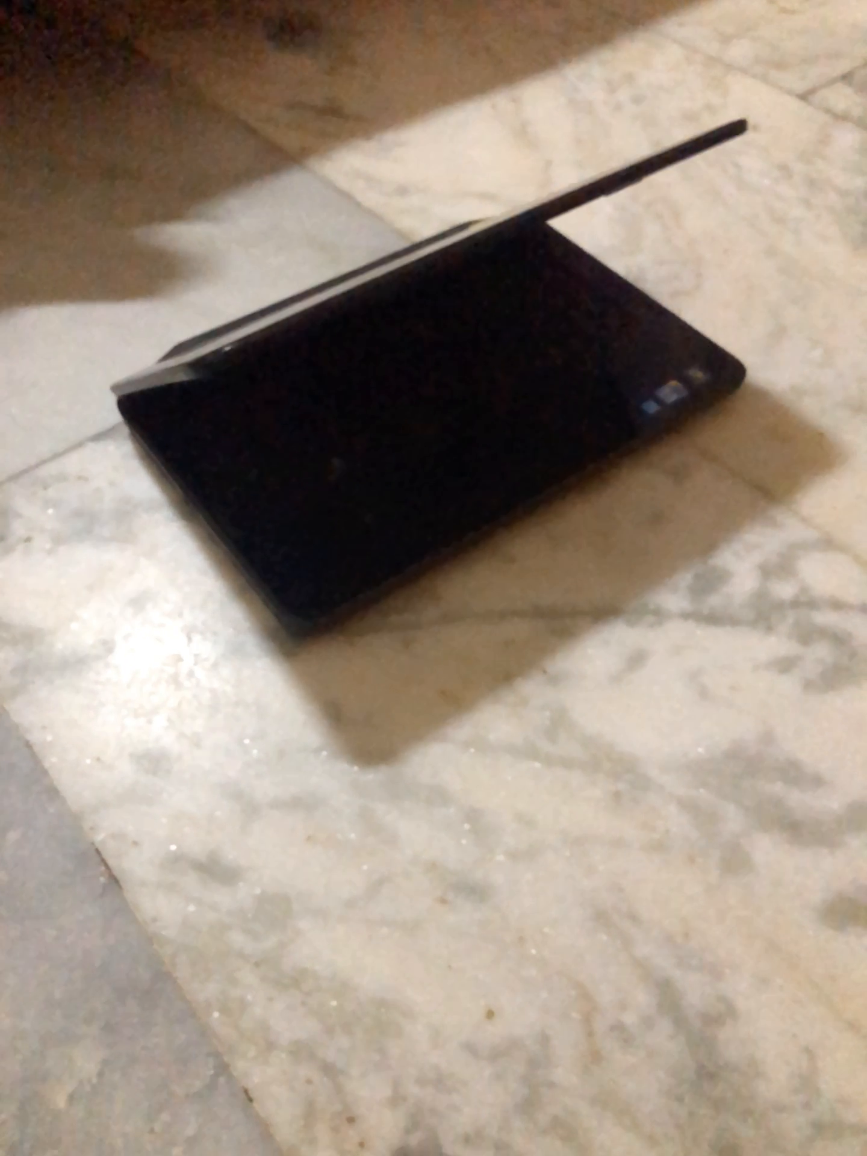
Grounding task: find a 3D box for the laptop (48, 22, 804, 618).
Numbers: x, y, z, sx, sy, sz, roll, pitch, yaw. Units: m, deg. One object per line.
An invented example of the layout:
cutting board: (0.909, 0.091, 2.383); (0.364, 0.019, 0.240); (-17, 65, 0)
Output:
laptop: (0.000, -0.181, 0.596); (0.352, 0.161, 0.234); (-31, 57, -23)
